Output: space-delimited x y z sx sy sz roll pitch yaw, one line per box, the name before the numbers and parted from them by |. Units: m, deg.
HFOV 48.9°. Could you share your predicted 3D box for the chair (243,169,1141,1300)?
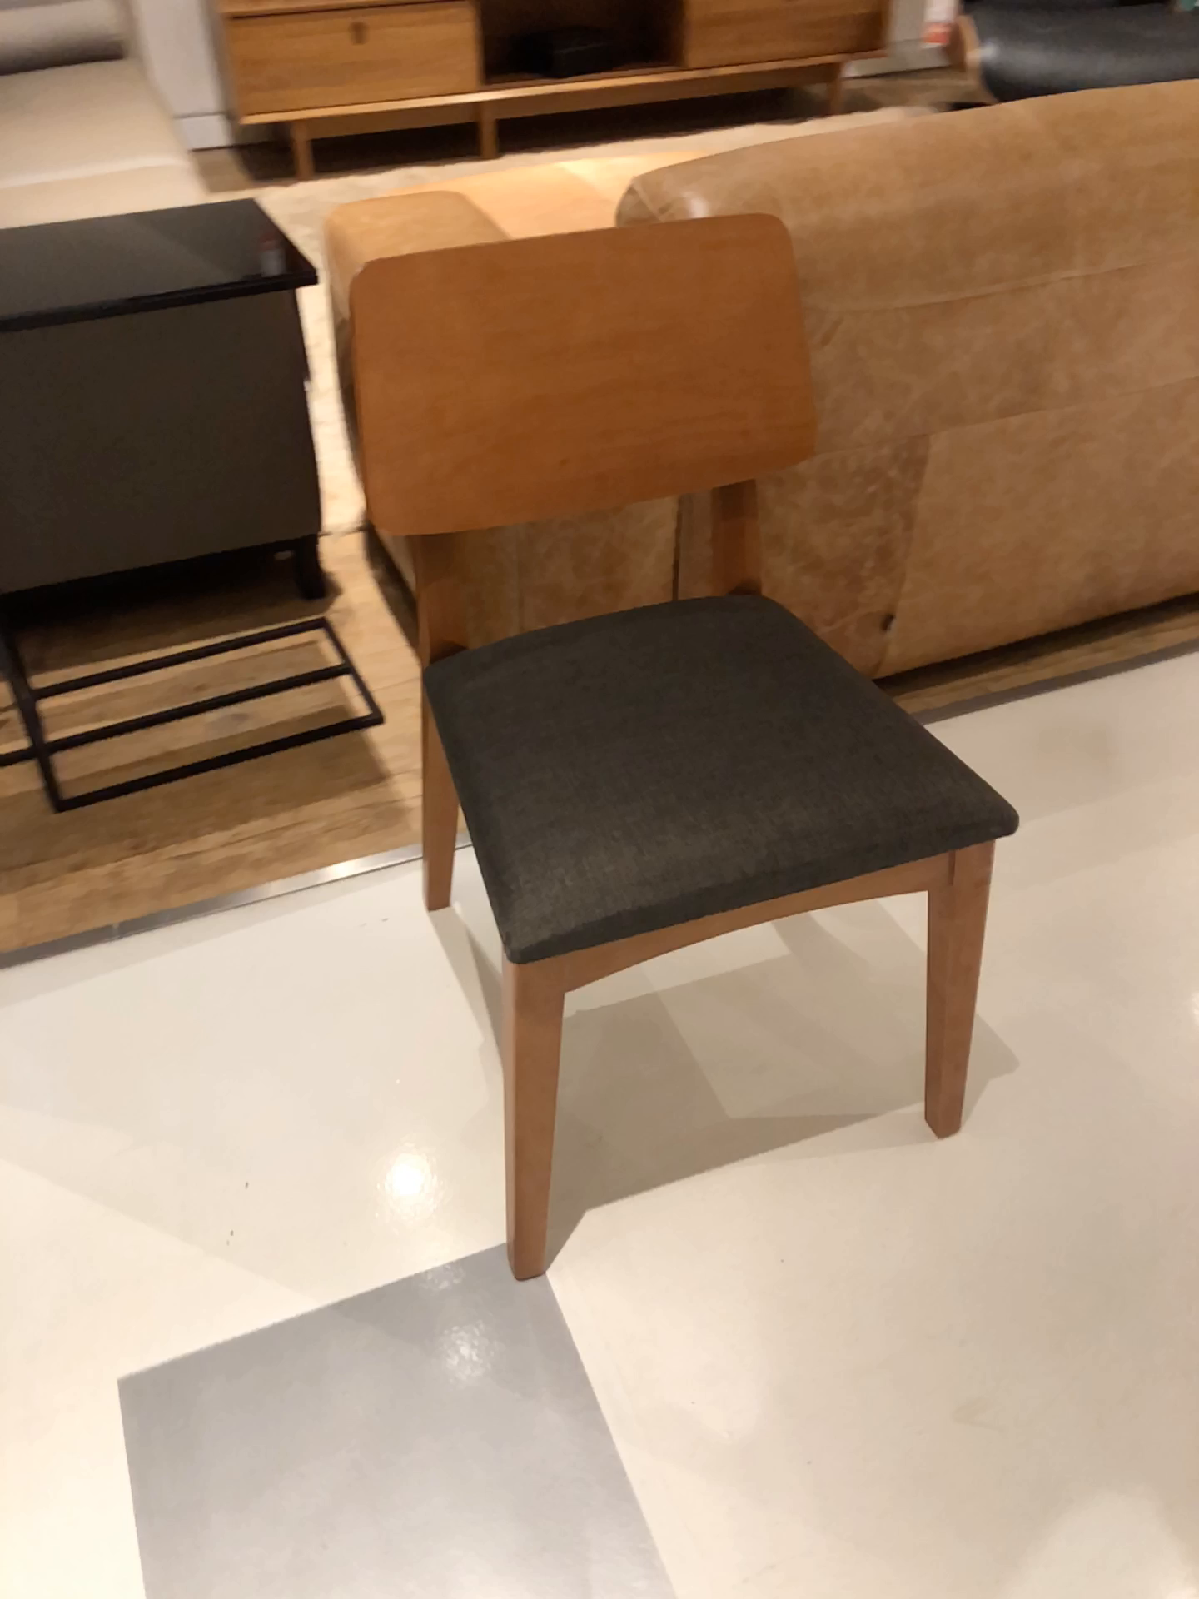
chair | 0.027 -0.064 1.236 0.481 0.794 0.564 -14 42 -15
